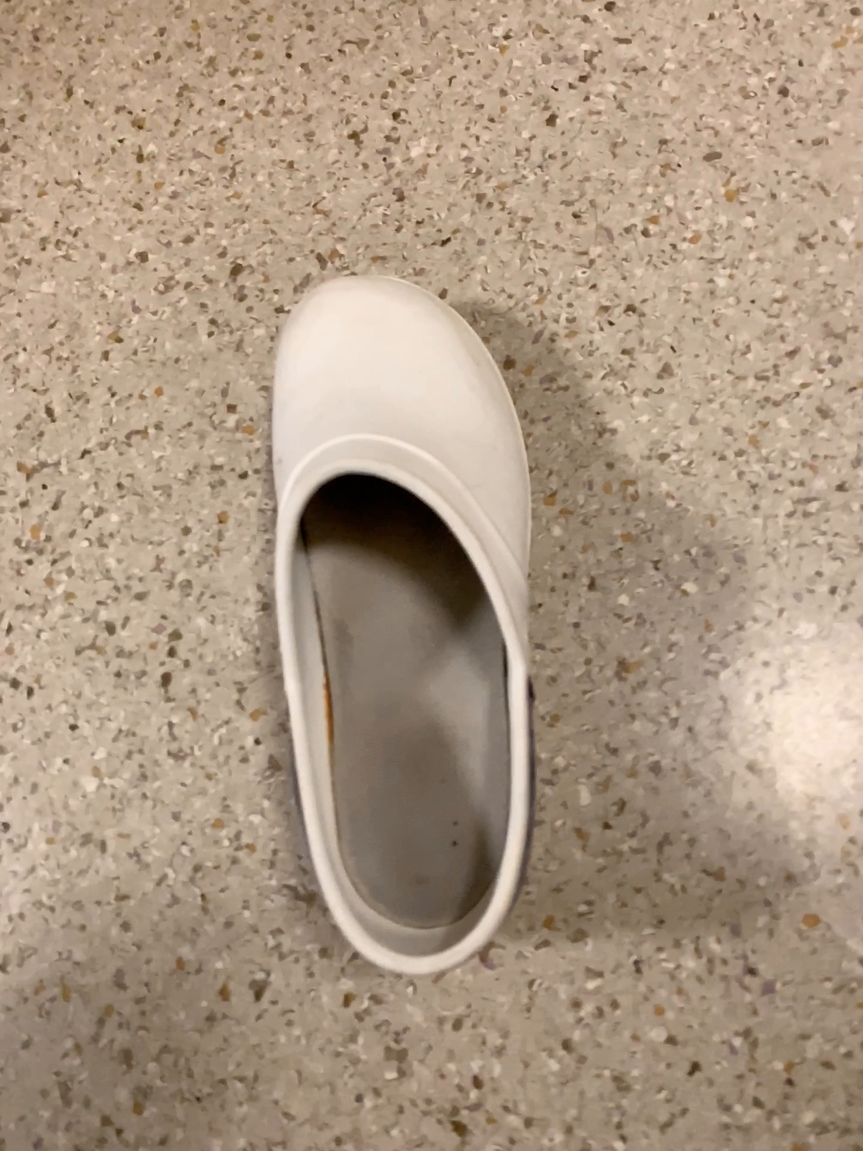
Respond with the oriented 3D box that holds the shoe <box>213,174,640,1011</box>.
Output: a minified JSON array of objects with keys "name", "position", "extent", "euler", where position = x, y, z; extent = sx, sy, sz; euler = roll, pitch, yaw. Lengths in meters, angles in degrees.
[{"name":"shoe","position":[-0.005,0.004,0.318],"extent":[0.107,0.101,0.255],"euler":[-8,73,6]}]
